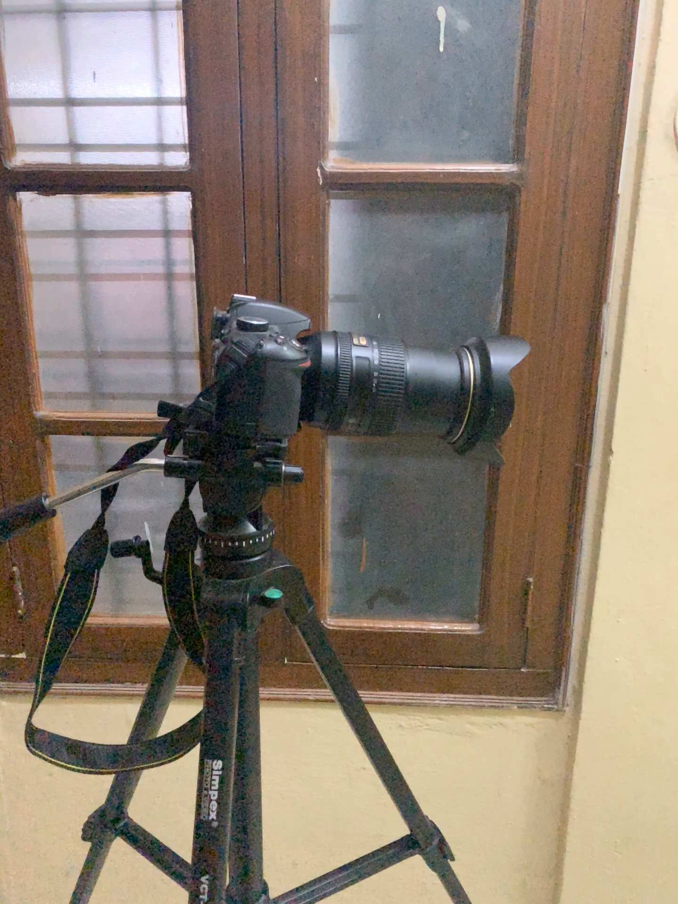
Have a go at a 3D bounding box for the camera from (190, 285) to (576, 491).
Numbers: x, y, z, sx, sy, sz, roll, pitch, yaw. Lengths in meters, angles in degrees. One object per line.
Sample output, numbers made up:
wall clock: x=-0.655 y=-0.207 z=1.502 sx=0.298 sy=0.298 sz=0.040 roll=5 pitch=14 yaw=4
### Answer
camera: x=0.026 y=-0.057 z=0.567 sx=0.270 sy=0.120 sz=0.130 roll=5 pitch=16 yaw=-6
